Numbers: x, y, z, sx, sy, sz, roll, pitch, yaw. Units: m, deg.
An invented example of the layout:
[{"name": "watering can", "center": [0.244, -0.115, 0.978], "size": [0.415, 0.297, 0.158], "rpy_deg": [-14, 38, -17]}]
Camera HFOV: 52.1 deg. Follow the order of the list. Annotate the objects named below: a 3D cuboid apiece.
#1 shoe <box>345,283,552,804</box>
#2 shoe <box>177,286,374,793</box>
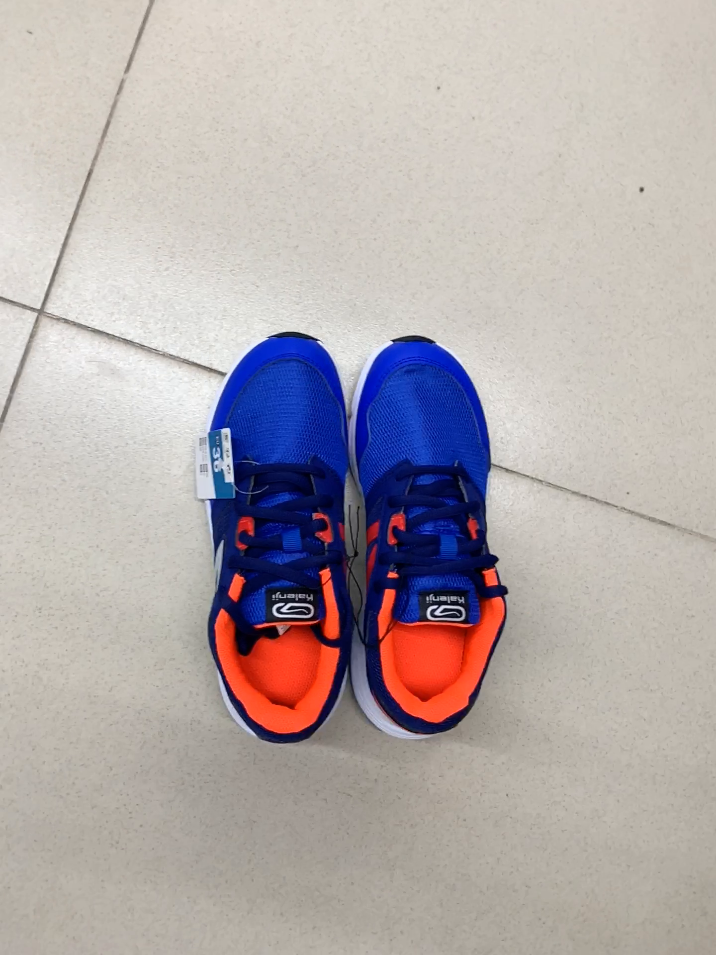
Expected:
[{"name": "shoe", "center": [0.043, 0.032, 0.417], "size": [0.090, 0.120, 0.250], "rpy_deg": [0, 89, -6]}, {"name": "shoe", "center": [-0.047, 0.030, 0.427], "size": [0.090, 0.120, 0.250], "rpy_deg": [-2, 89, -6]}]
